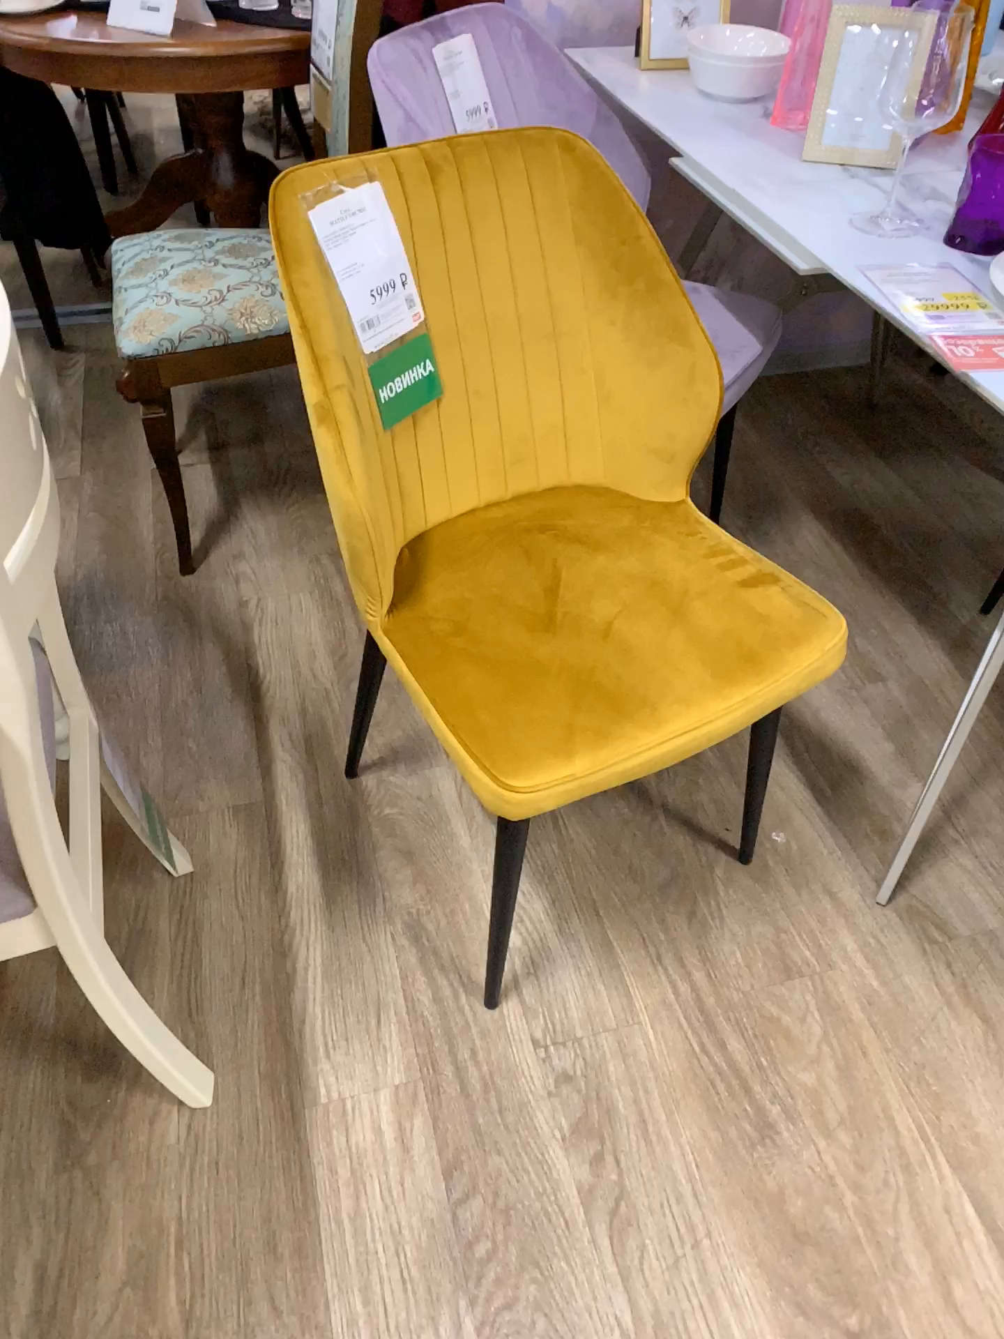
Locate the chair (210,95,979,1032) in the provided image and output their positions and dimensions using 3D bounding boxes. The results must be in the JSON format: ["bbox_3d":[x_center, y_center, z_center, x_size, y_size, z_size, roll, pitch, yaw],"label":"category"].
[{"bbox_3d":[0.049,-0.106,1.233,0.501,0.885,0.502,-22,49,-25],"label":"chair"}]
